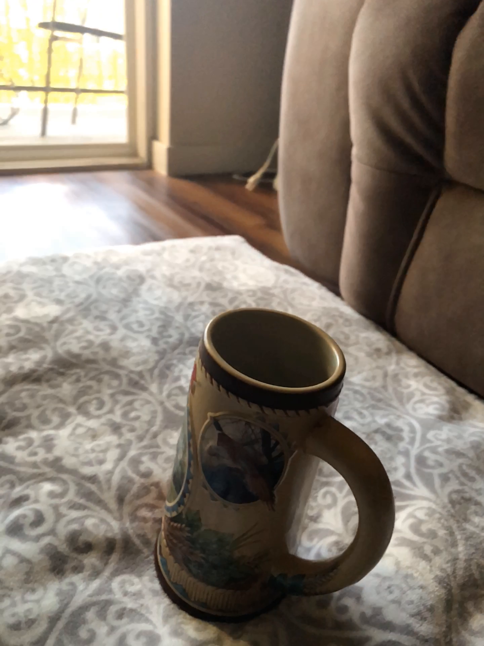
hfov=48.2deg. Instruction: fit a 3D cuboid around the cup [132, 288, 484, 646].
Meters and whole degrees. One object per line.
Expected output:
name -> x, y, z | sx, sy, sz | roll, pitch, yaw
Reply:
cup -> 0.026, 0.105, 0.327 | 0.144, 0.188, 0.099 | 32, 37, 28
